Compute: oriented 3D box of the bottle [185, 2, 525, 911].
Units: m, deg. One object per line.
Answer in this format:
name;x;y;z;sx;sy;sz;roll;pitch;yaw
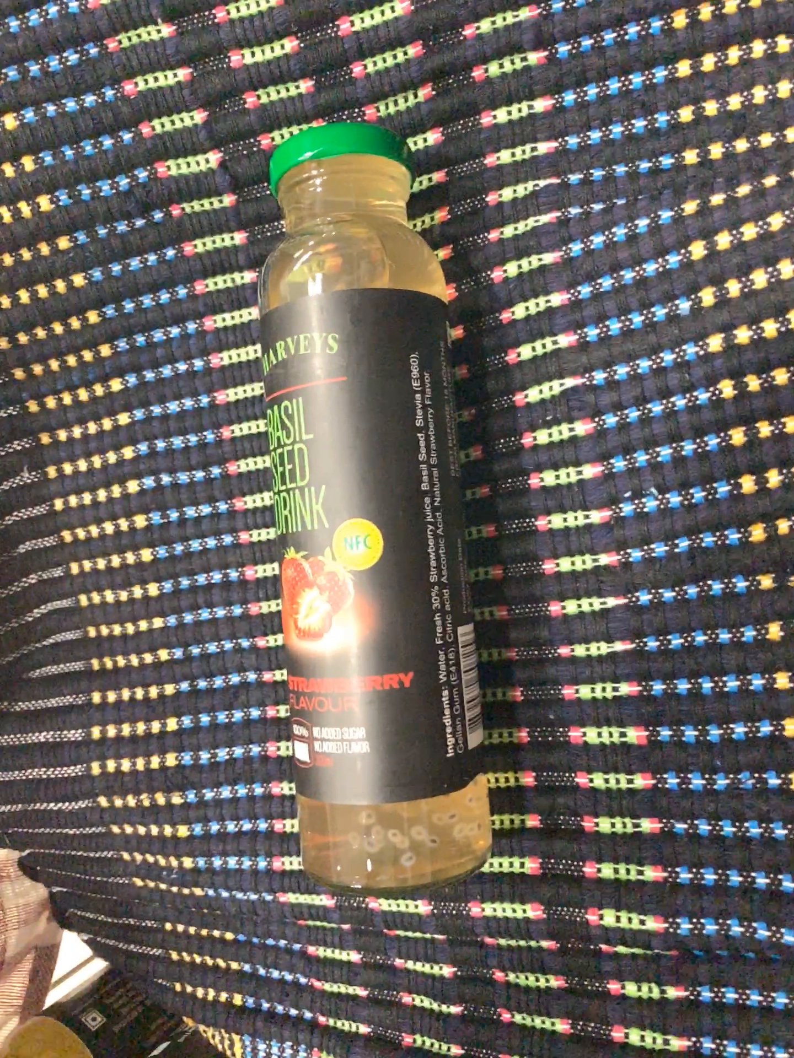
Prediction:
bottle;-0.016;-0.019;0.237;0.060;0.060;0.220;-11;82;58
